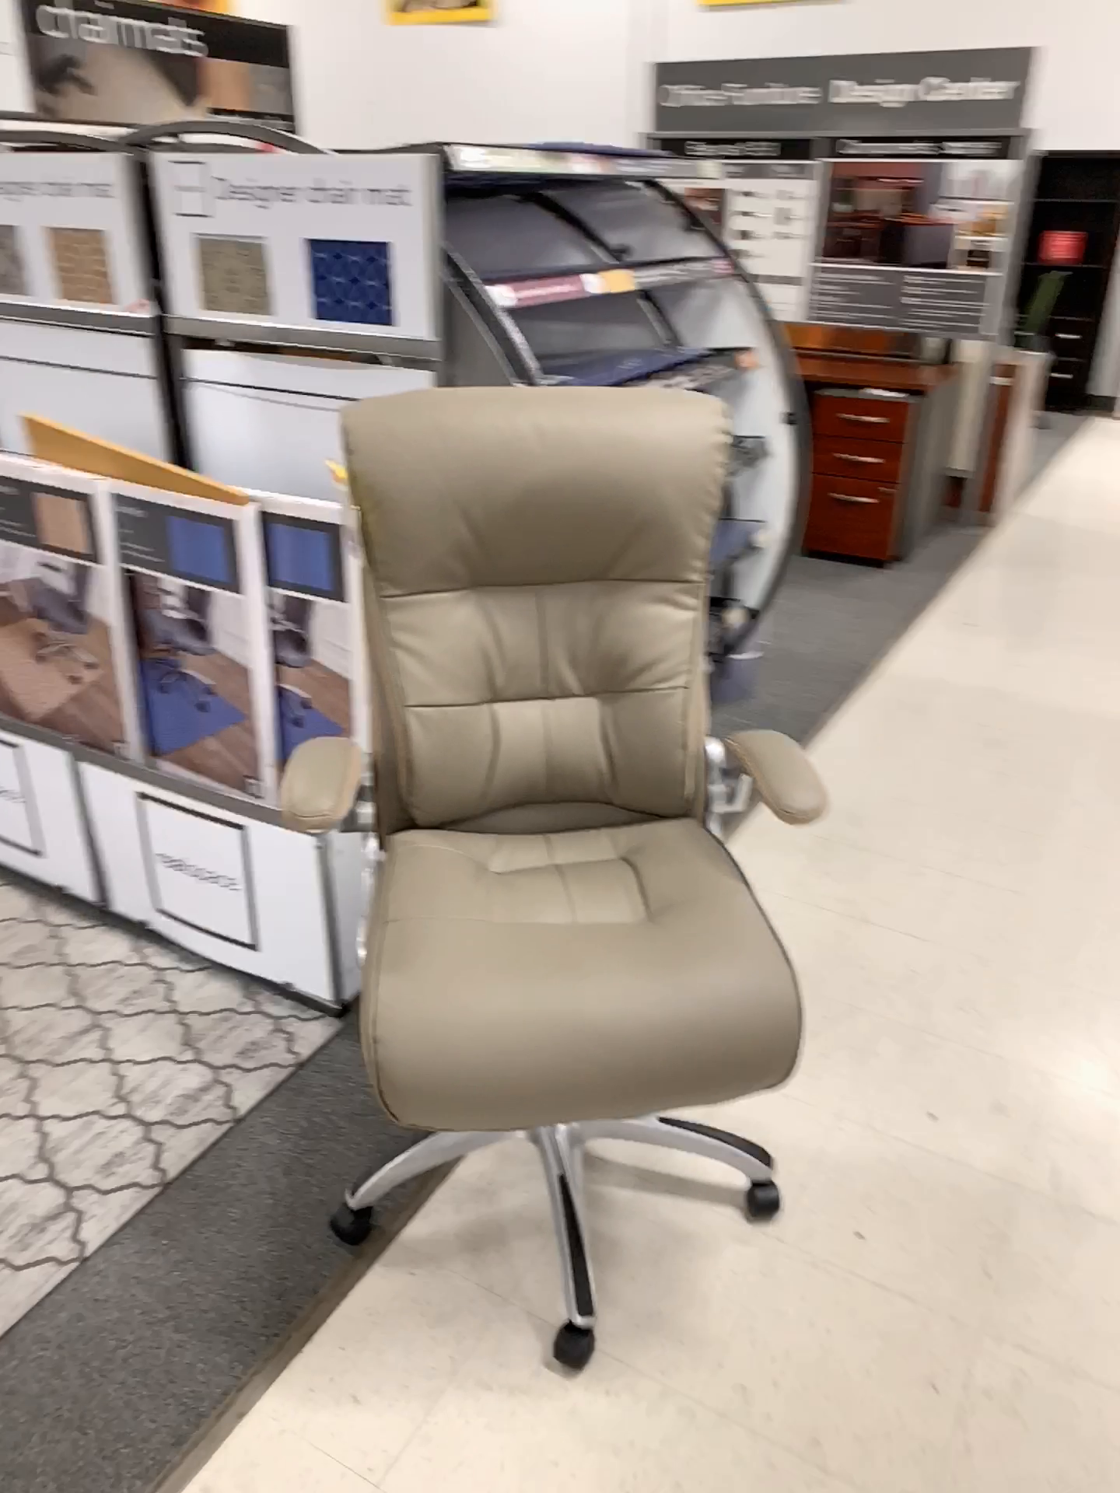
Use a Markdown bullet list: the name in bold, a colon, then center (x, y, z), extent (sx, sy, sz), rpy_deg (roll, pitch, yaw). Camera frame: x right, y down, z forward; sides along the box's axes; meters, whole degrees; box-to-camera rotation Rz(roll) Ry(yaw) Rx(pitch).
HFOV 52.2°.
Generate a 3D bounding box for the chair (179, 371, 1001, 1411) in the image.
- **chair**: center (-0.013, 0.143, 1.546), extent (0.710, 1.144, 0.724), rpy_deg (-2, 26, -7)
